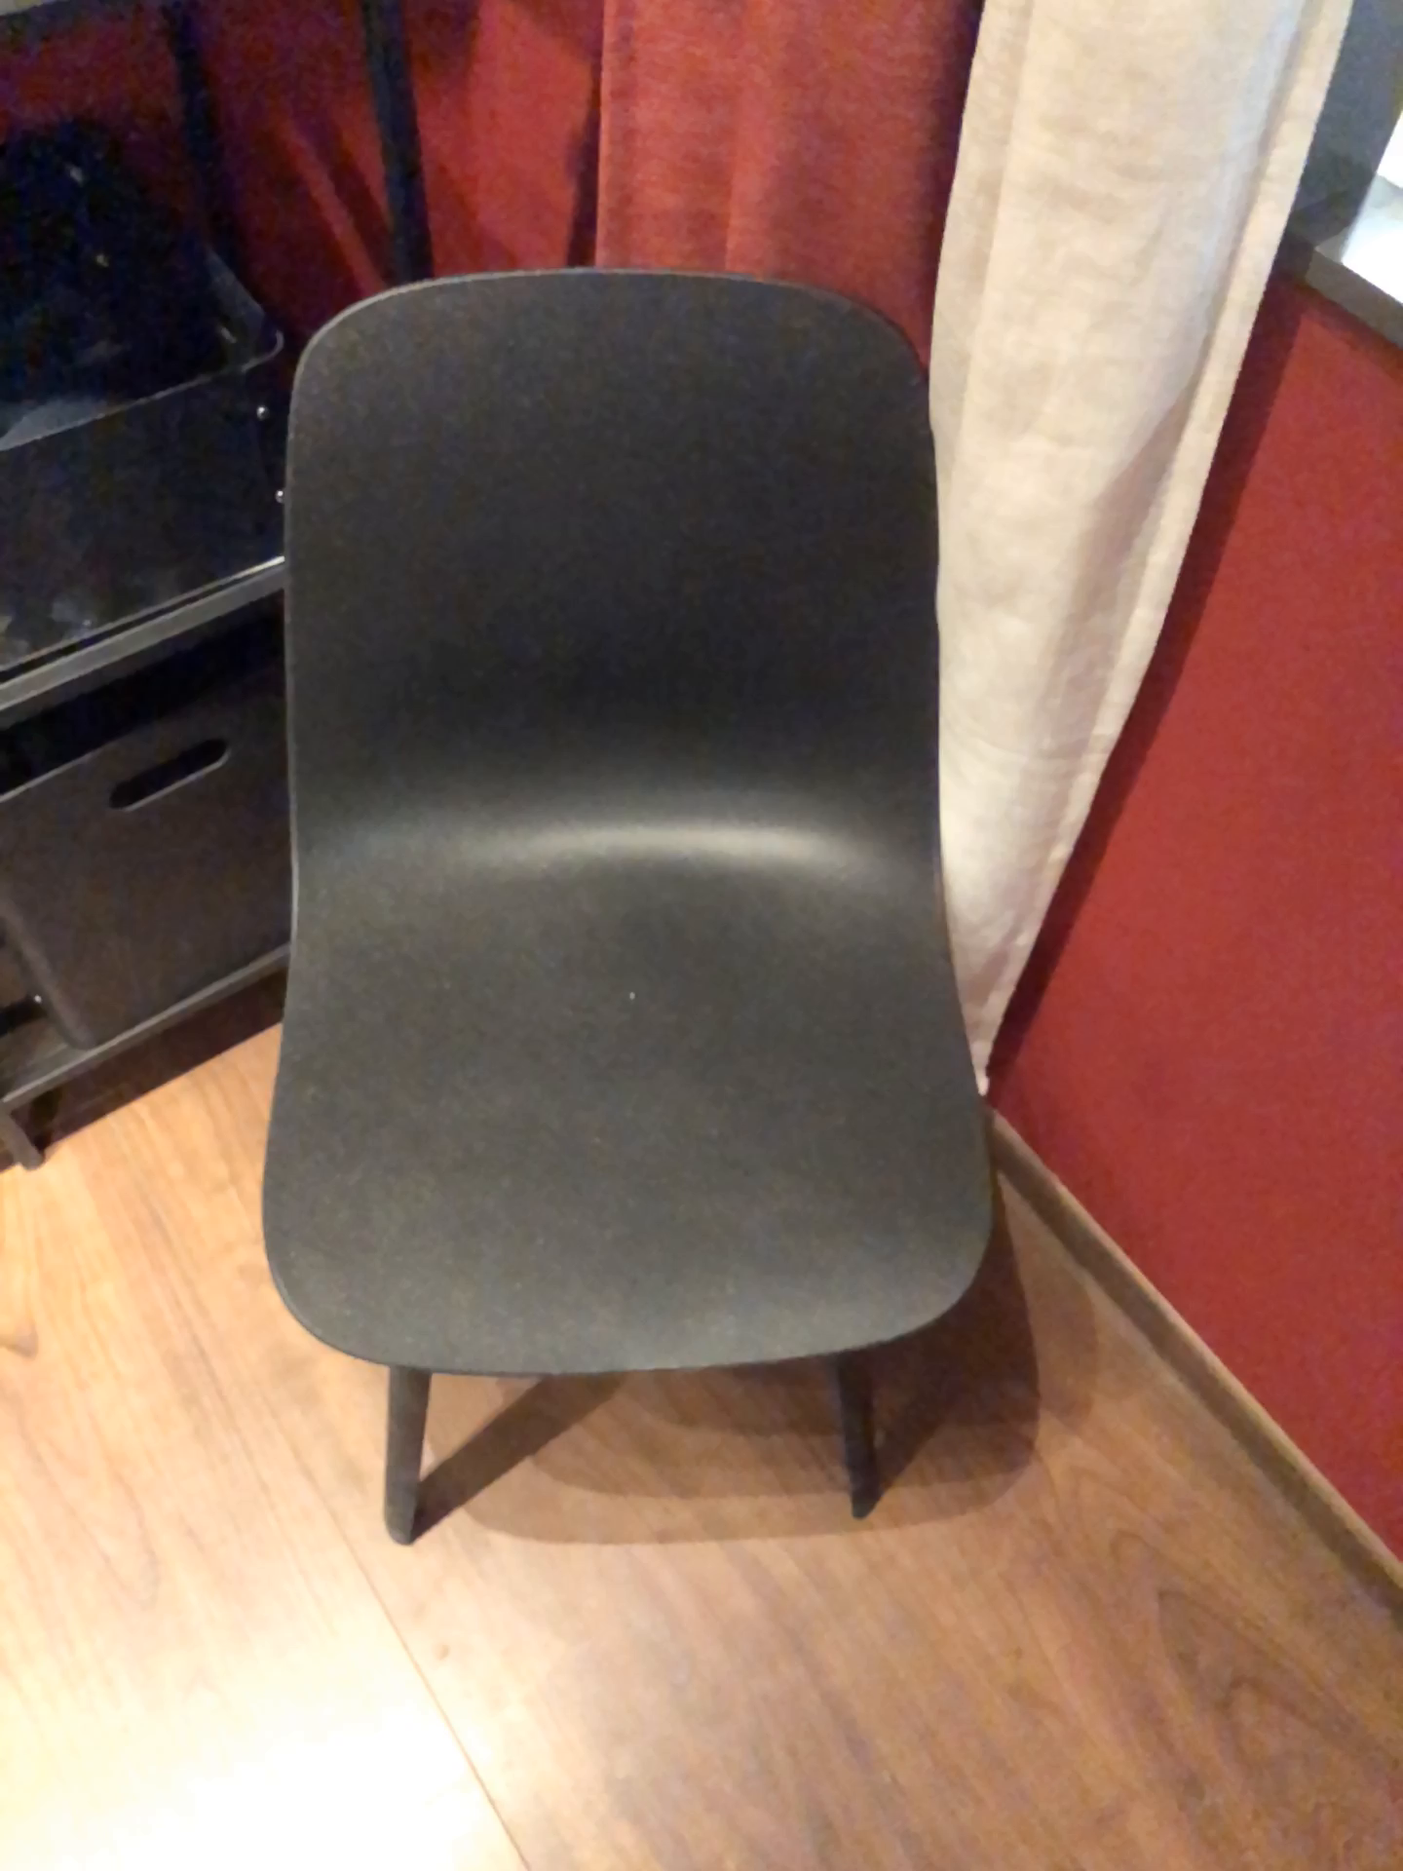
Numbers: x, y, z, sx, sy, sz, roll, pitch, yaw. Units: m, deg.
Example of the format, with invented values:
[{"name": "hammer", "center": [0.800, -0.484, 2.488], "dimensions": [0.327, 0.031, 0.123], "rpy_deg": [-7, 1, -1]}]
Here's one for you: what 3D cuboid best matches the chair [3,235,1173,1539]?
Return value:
[{"name": "chair", "center": [-0.065, 0.036, 0.979], "dimensions": [0.410, 0.726, 0.482], "rpy_deg": [-1, 56, -4]}]
